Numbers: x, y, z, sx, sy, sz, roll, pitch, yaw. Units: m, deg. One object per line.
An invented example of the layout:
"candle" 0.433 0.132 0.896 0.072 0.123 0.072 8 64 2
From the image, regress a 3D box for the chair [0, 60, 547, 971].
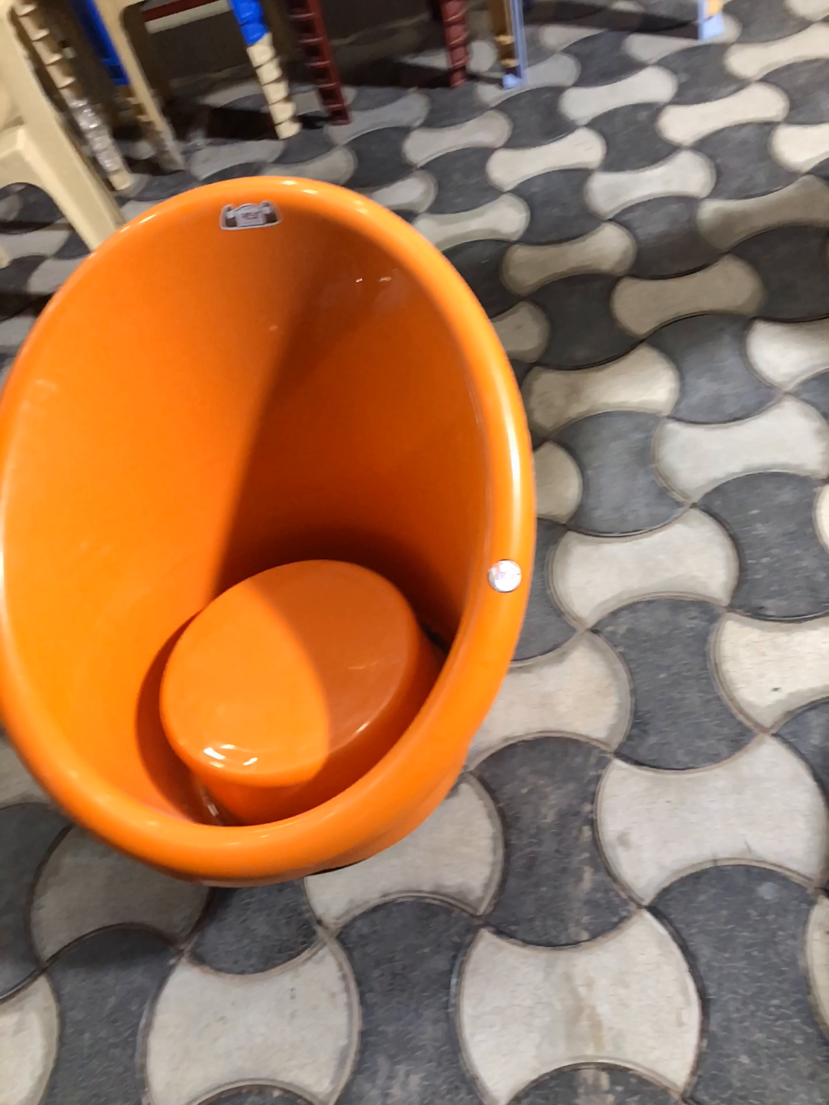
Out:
"chair" -0.231 -0.018 1.065 0.660 0.666 0.724 -3 49 15
